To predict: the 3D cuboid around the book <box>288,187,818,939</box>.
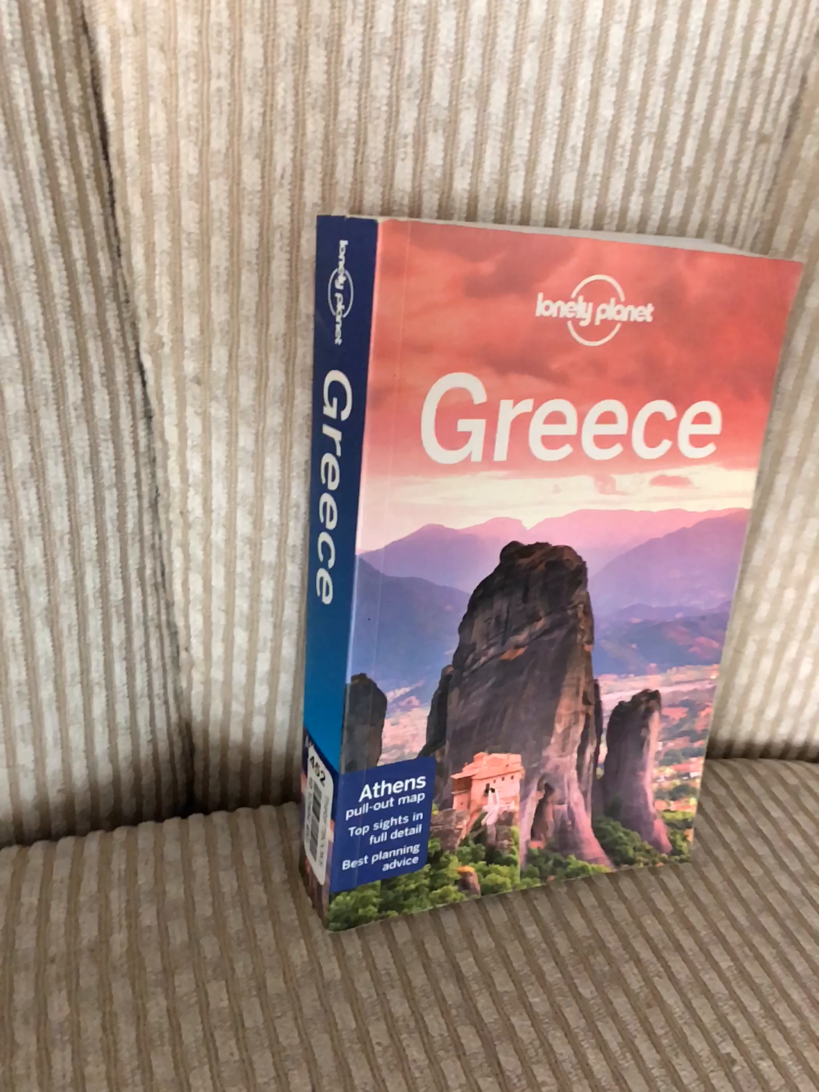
[{"bbox_3d":[0.036,0.008,0.271,0.133,0.201,0.041,-2,19,-19],"label":"book"}]
